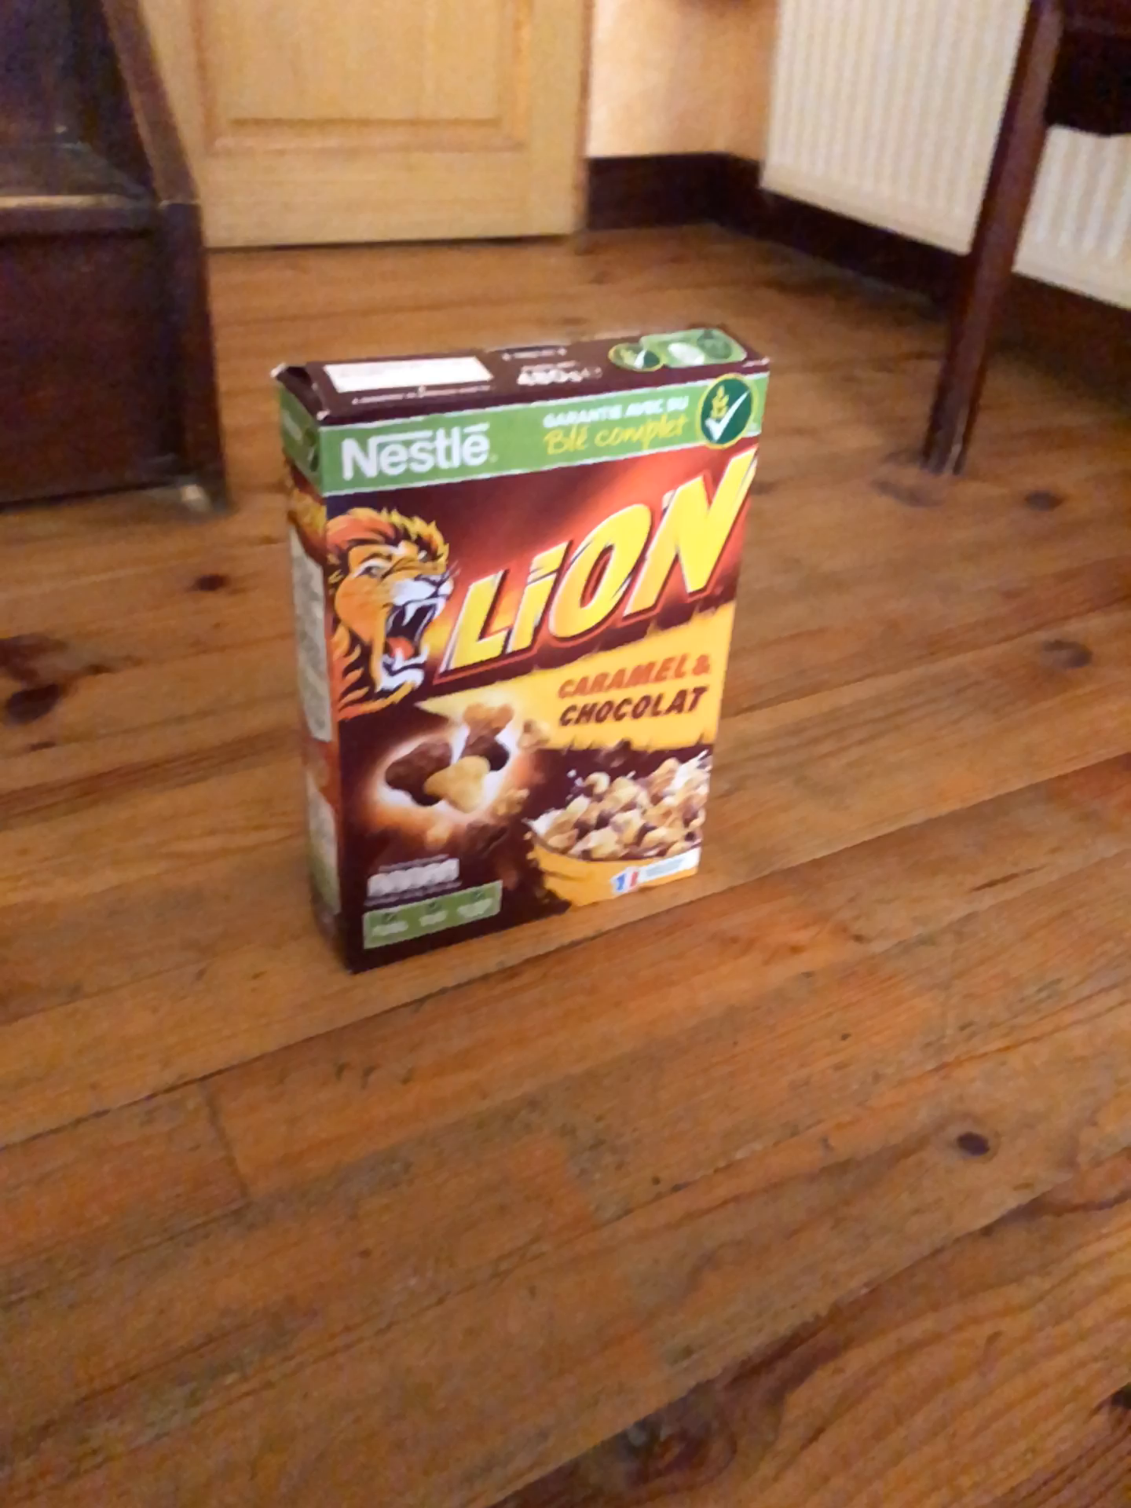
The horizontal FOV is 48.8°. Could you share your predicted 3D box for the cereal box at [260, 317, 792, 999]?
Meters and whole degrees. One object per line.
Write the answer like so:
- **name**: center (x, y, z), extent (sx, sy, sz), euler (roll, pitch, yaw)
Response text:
- **cereal box**: center (-0.019, -0.039, 0.560), extent (0.201, 0.278, 0.060), euler (-13, 37, -24)
